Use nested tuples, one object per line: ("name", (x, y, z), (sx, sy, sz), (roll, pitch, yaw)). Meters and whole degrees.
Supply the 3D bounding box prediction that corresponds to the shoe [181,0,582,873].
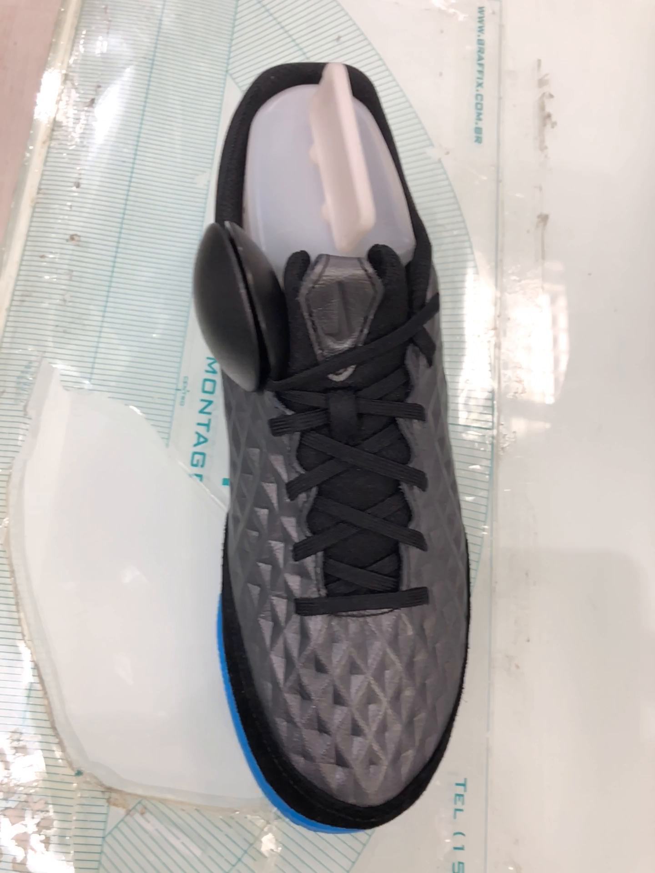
("shoe", (0.002, -0.008, 0.278), (0.100, 0.100, 0.290), (-2, 73, -8))
